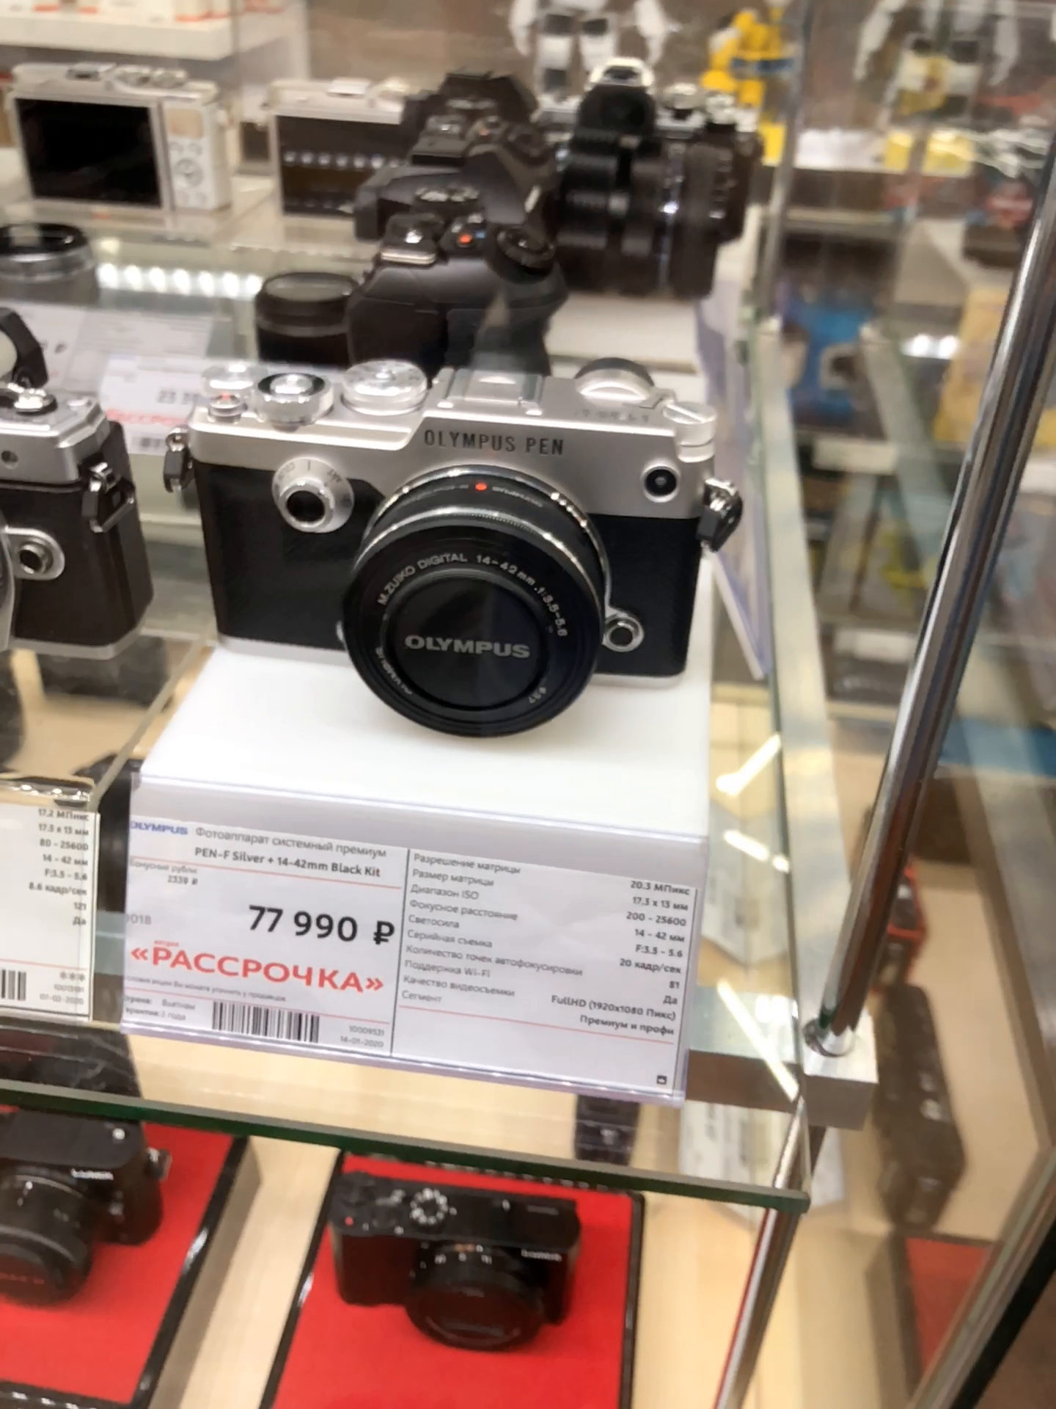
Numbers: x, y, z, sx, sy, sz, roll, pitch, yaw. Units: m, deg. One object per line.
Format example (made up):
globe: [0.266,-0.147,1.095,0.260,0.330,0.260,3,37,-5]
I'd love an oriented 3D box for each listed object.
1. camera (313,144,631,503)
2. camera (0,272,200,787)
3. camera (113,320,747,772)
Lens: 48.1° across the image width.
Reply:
camera: [-0.013,-0.134,0.401,0.083,0.075,0.128,6,36,4]
camera: [-0.164,-0.048,0.288,0.127,0.075,0.099,7,36,5]
camera: [-0.018,-0.041,0.285,0.127,0.070,0.077,6,36,3]
